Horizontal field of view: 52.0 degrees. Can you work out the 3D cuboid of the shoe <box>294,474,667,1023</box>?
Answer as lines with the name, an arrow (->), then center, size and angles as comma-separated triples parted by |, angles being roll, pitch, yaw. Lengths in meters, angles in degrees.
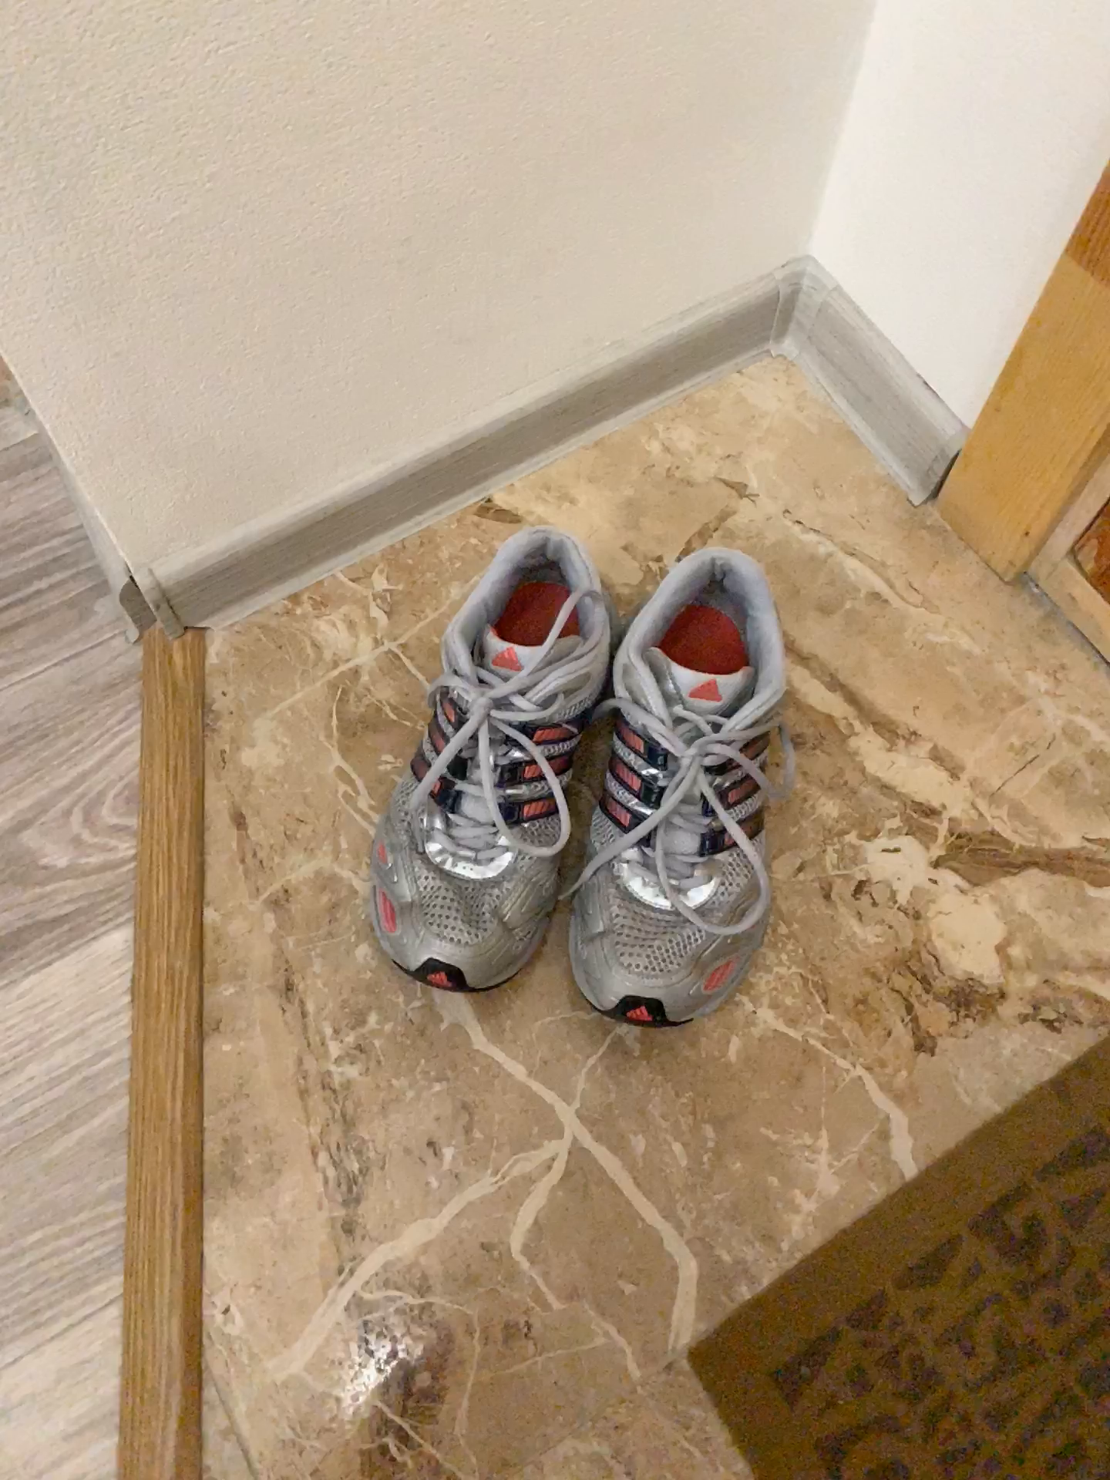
shoe -> -0.028, 0.001, 0.568 | 0.110, 0.090, 0.241 | 14, 66, 6

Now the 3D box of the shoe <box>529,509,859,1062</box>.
shoe -> 0.070, 0.019, 0.564 | 0.110, 0.090, 0.241 | 13, 66, 5
